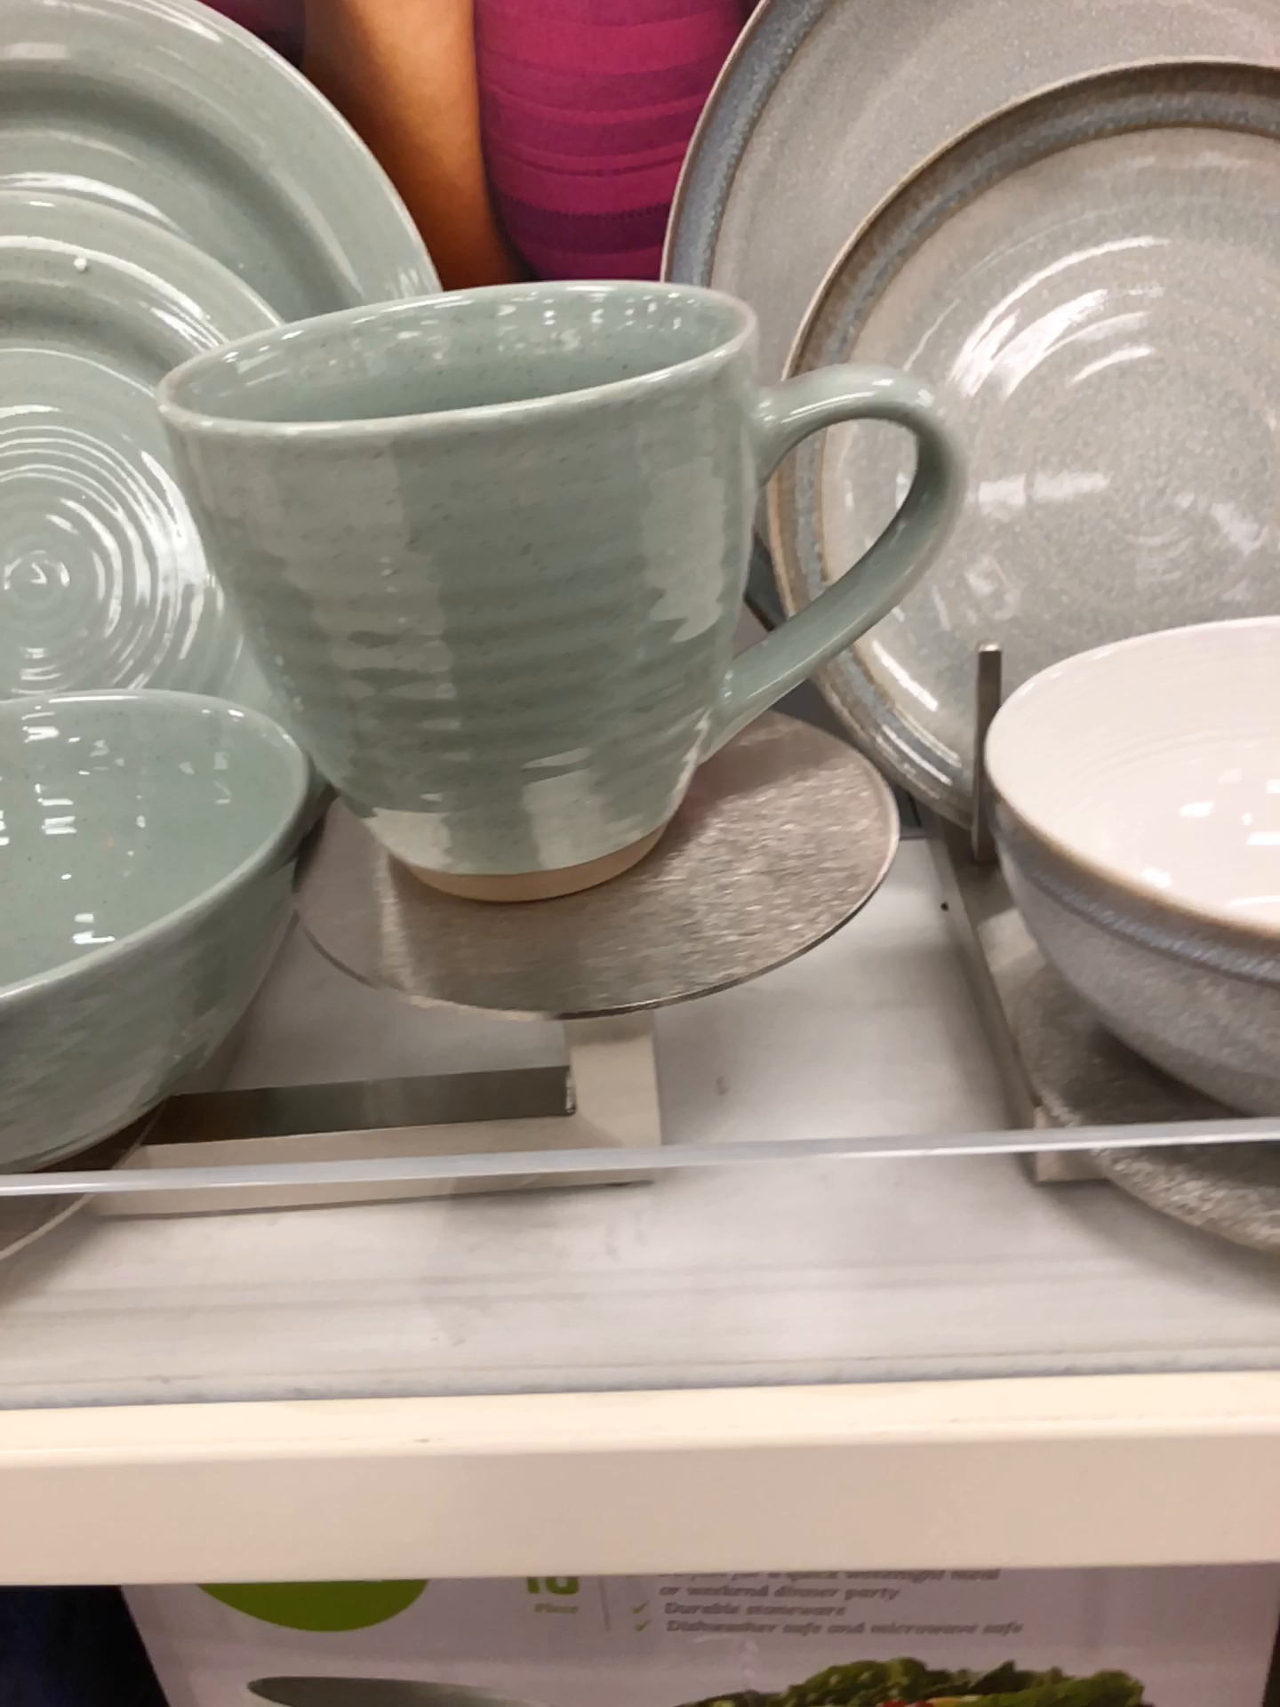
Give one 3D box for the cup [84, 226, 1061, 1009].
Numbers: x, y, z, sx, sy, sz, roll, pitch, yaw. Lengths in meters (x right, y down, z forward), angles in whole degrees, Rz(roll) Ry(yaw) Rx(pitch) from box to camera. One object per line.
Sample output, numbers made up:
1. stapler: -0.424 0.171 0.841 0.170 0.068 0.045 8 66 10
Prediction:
1. cup: -0.011 -0.052 0.259 0.129 0.091 0.116 -8 30 -4
